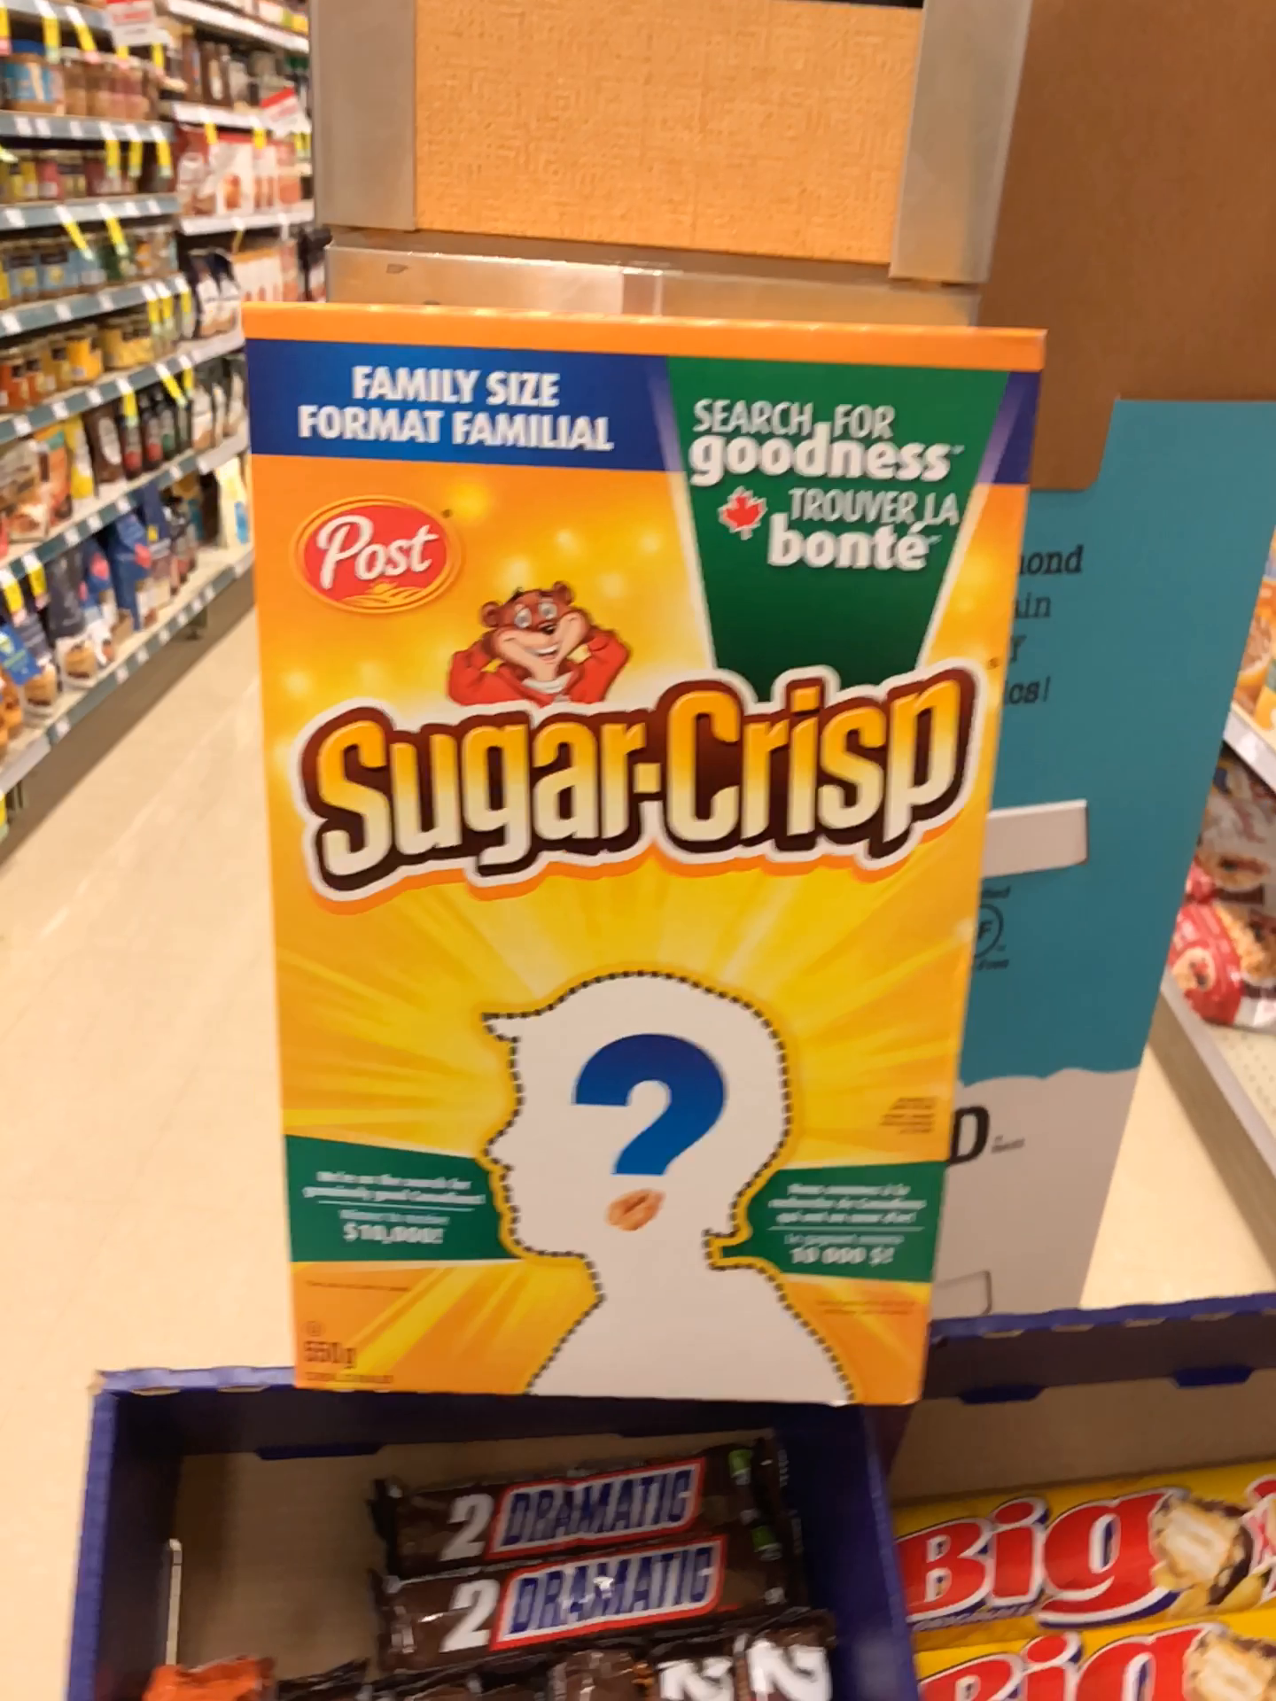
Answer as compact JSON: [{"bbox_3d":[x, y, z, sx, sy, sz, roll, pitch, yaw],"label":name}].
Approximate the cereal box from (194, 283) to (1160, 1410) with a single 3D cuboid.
[{"bbox_3d":[0.003,0.005,0.403,0.220,0.299,0.080,2,18,-1],"label":"cereal box"}]
